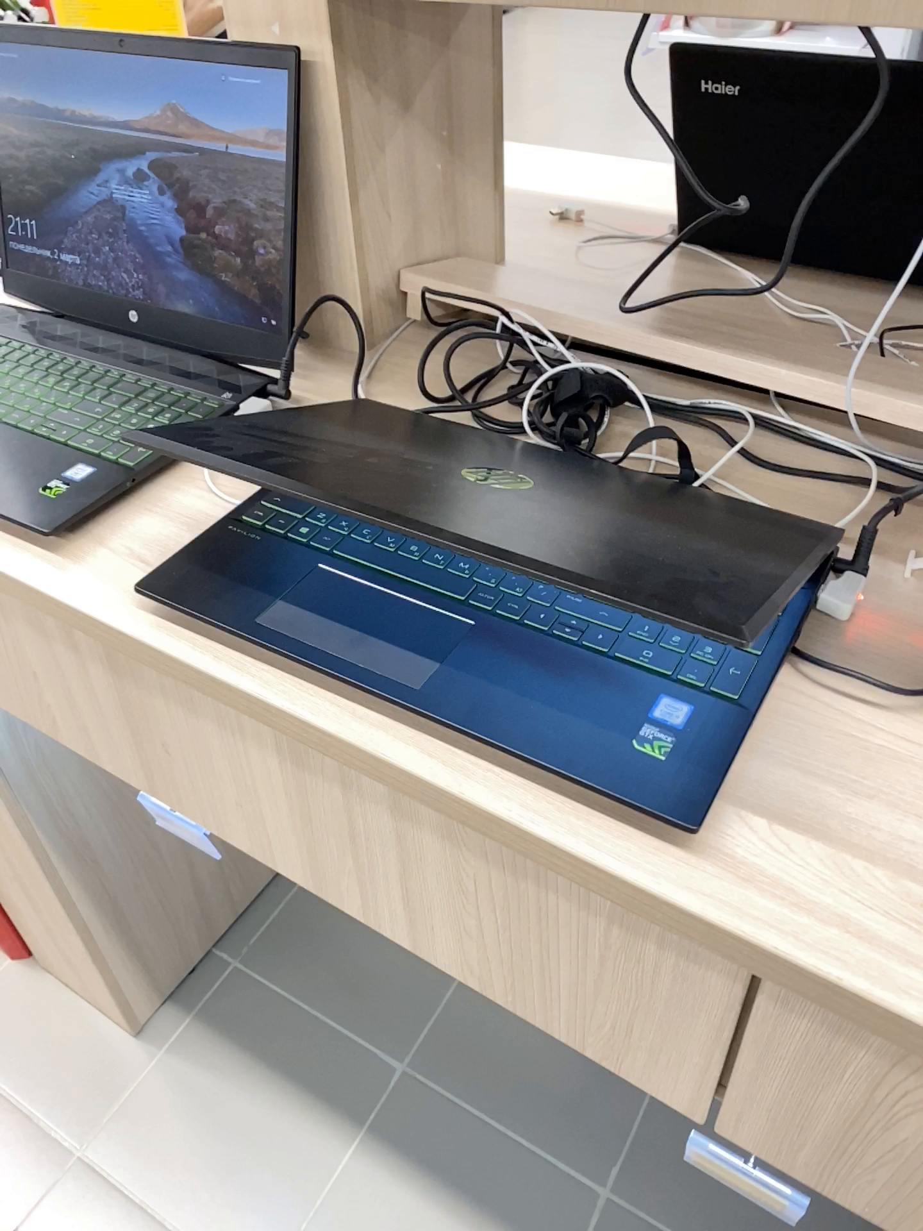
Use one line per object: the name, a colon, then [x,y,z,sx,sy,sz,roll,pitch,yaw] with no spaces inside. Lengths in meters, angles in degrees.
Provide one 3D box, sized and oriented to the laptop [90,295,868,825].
laptop: [0.014,-0.066,0.555,0.362,0.092,0.243,20,46,23]
